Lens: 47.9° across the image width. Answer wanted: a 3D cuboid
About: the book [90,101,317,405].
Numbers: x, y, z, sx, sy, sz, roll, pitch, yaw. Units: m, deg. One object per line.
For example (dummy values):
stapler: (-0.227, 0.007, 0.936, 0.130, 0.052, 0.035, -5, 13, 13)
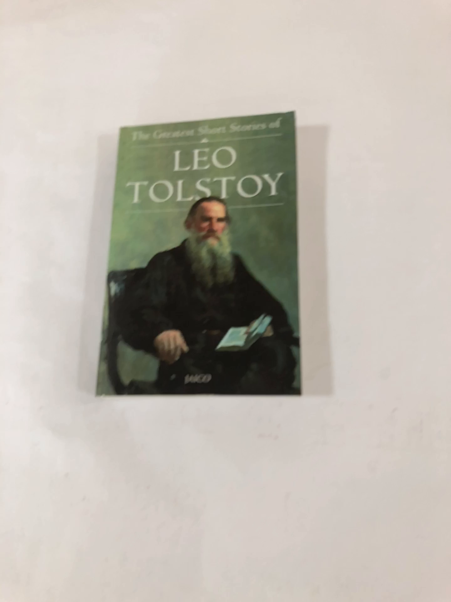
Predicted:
book: (-0.015, -0.041, 0.378, 0.150, 0.020, 0.230, -2, 71, 7)
